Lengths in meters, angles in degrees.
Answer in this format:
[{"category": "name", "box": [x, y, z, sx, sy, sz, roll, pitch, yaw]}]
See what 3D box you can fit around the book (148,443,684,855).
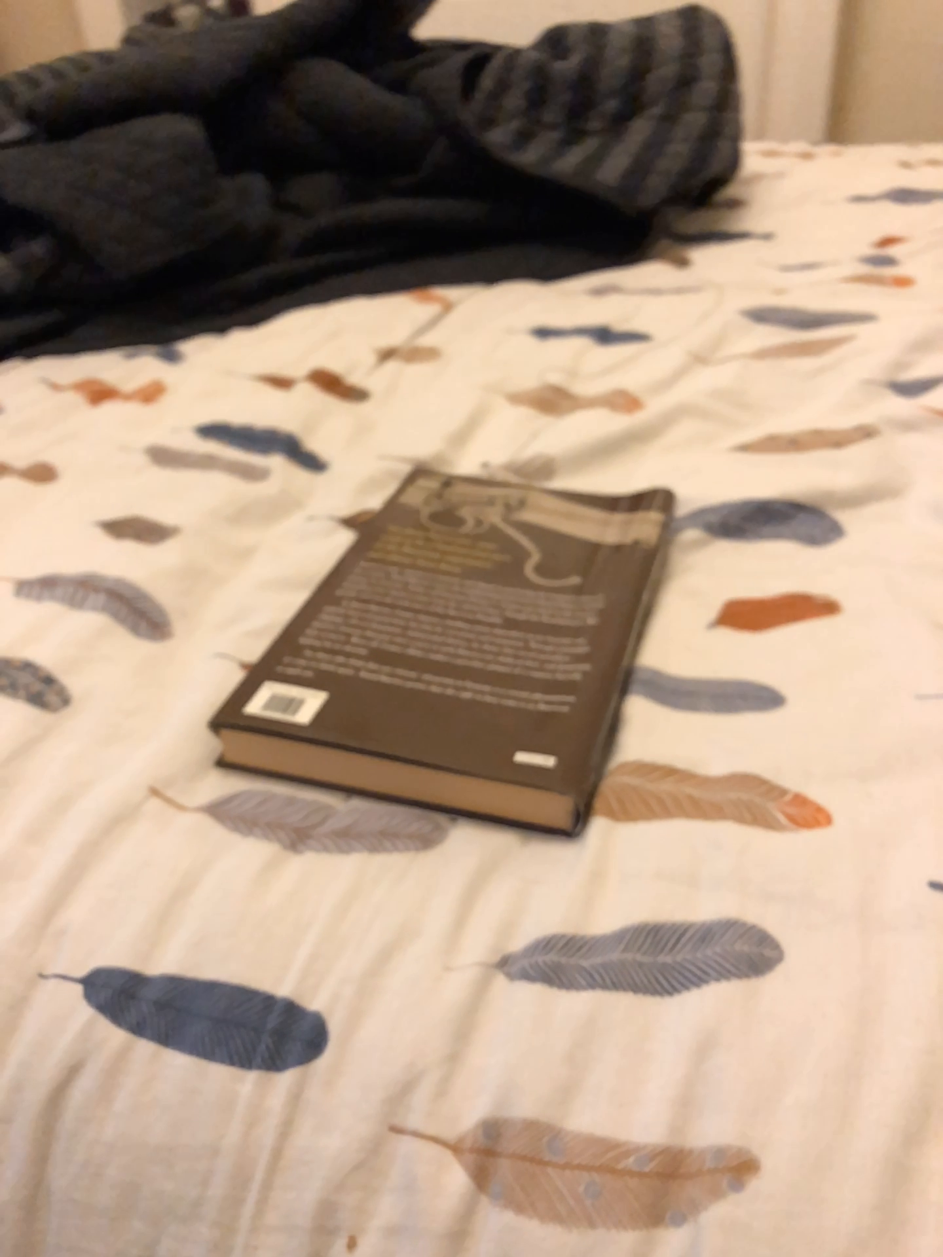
[{"category": "book", "box": [-0.009, -0.011, 0.507, 0.180, 0.030, 0.241, 8, 40, 17]}]
